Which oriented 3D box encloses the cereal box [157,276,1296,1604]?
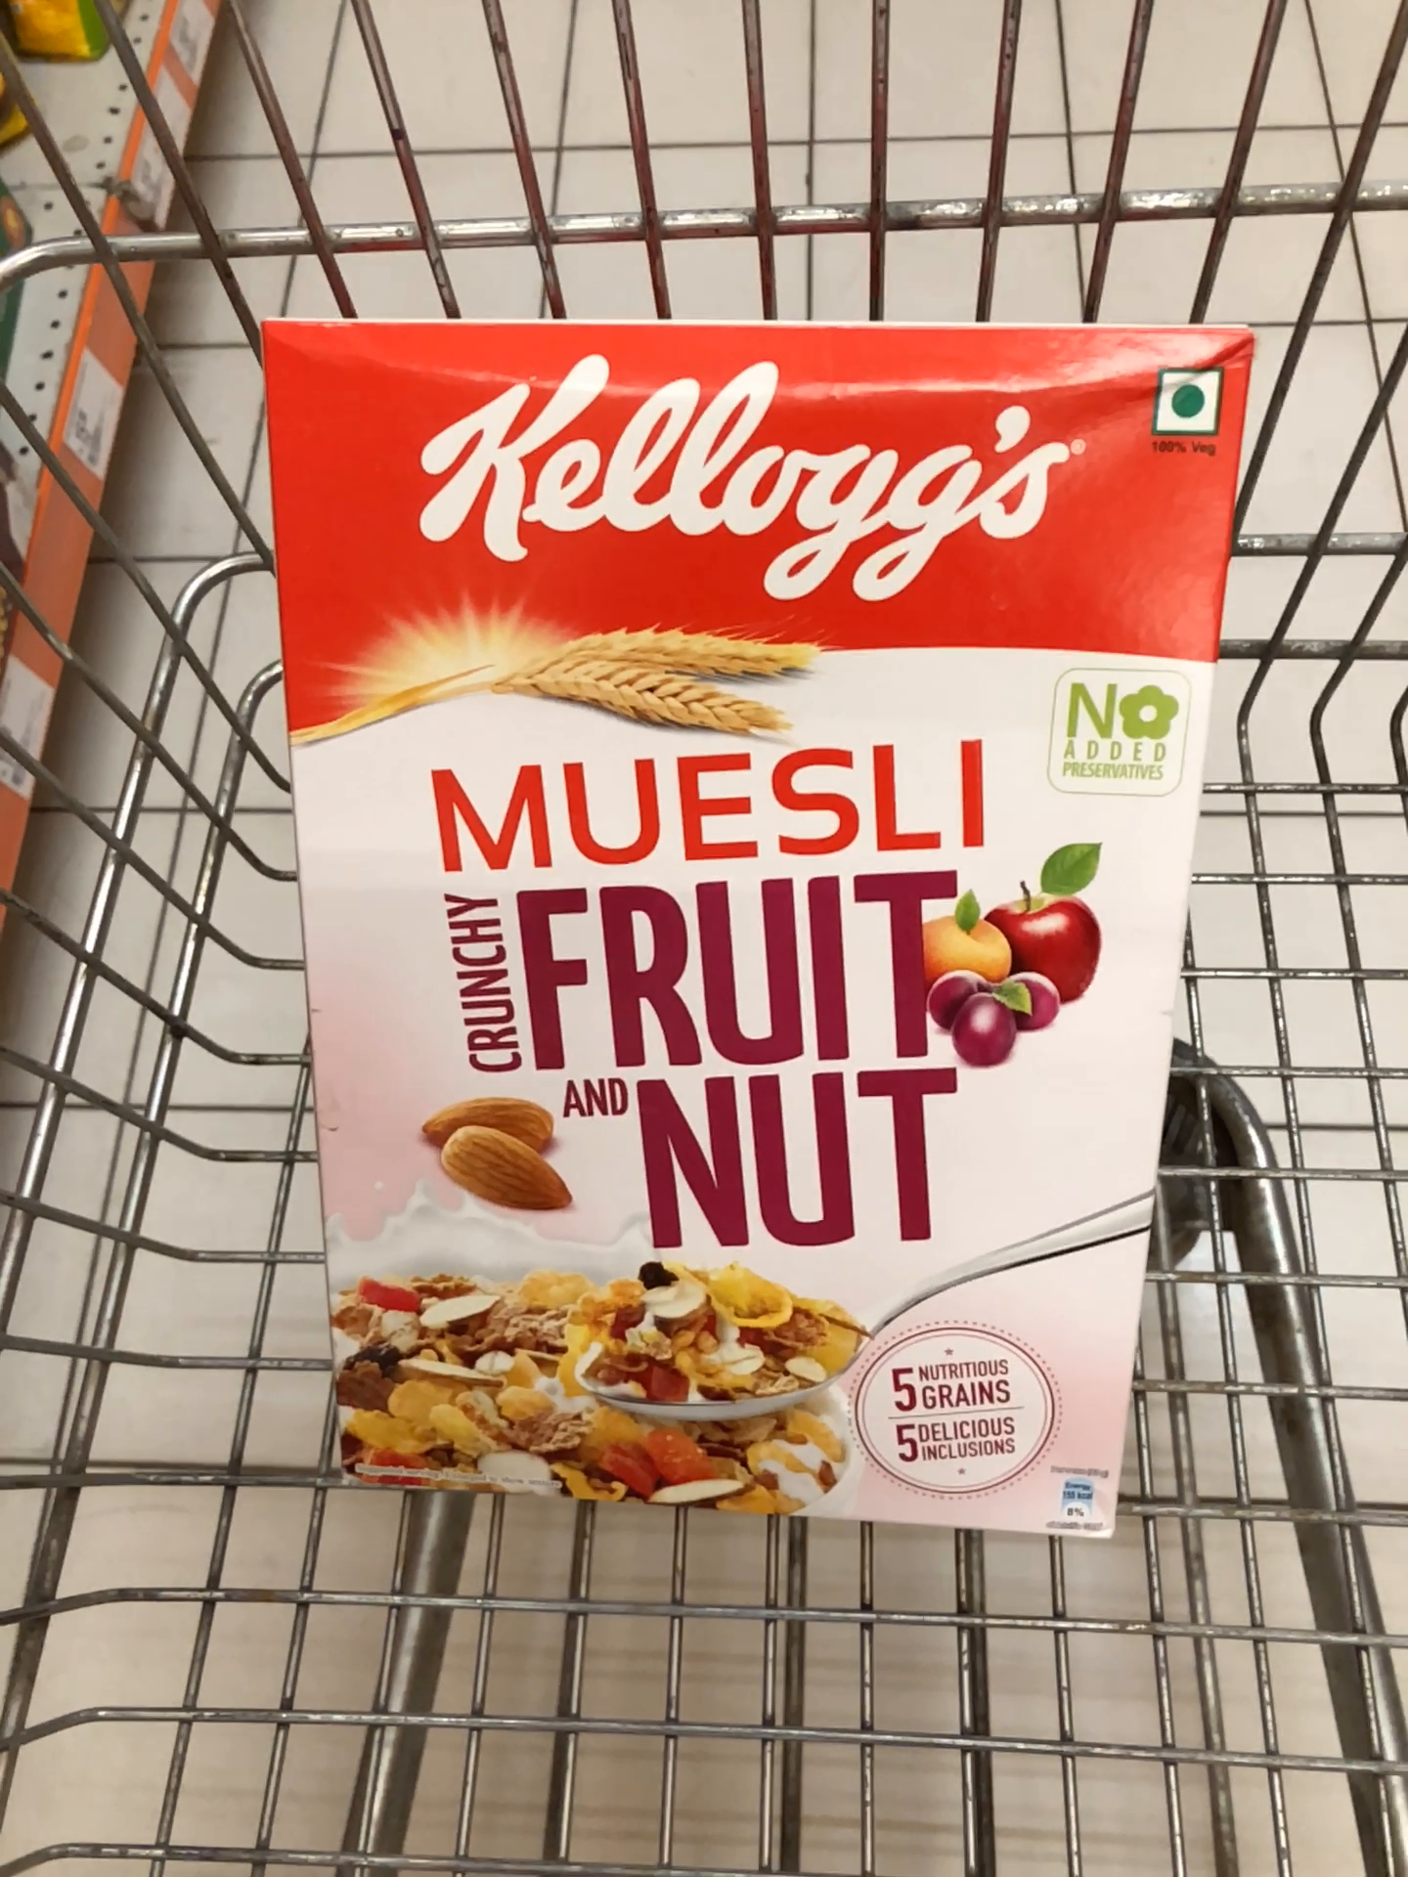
[{"bbox_3d":[0.002,0.005,0.340,0.190,0.070,0.269,3,111,5],"label":"cereal box"}]
